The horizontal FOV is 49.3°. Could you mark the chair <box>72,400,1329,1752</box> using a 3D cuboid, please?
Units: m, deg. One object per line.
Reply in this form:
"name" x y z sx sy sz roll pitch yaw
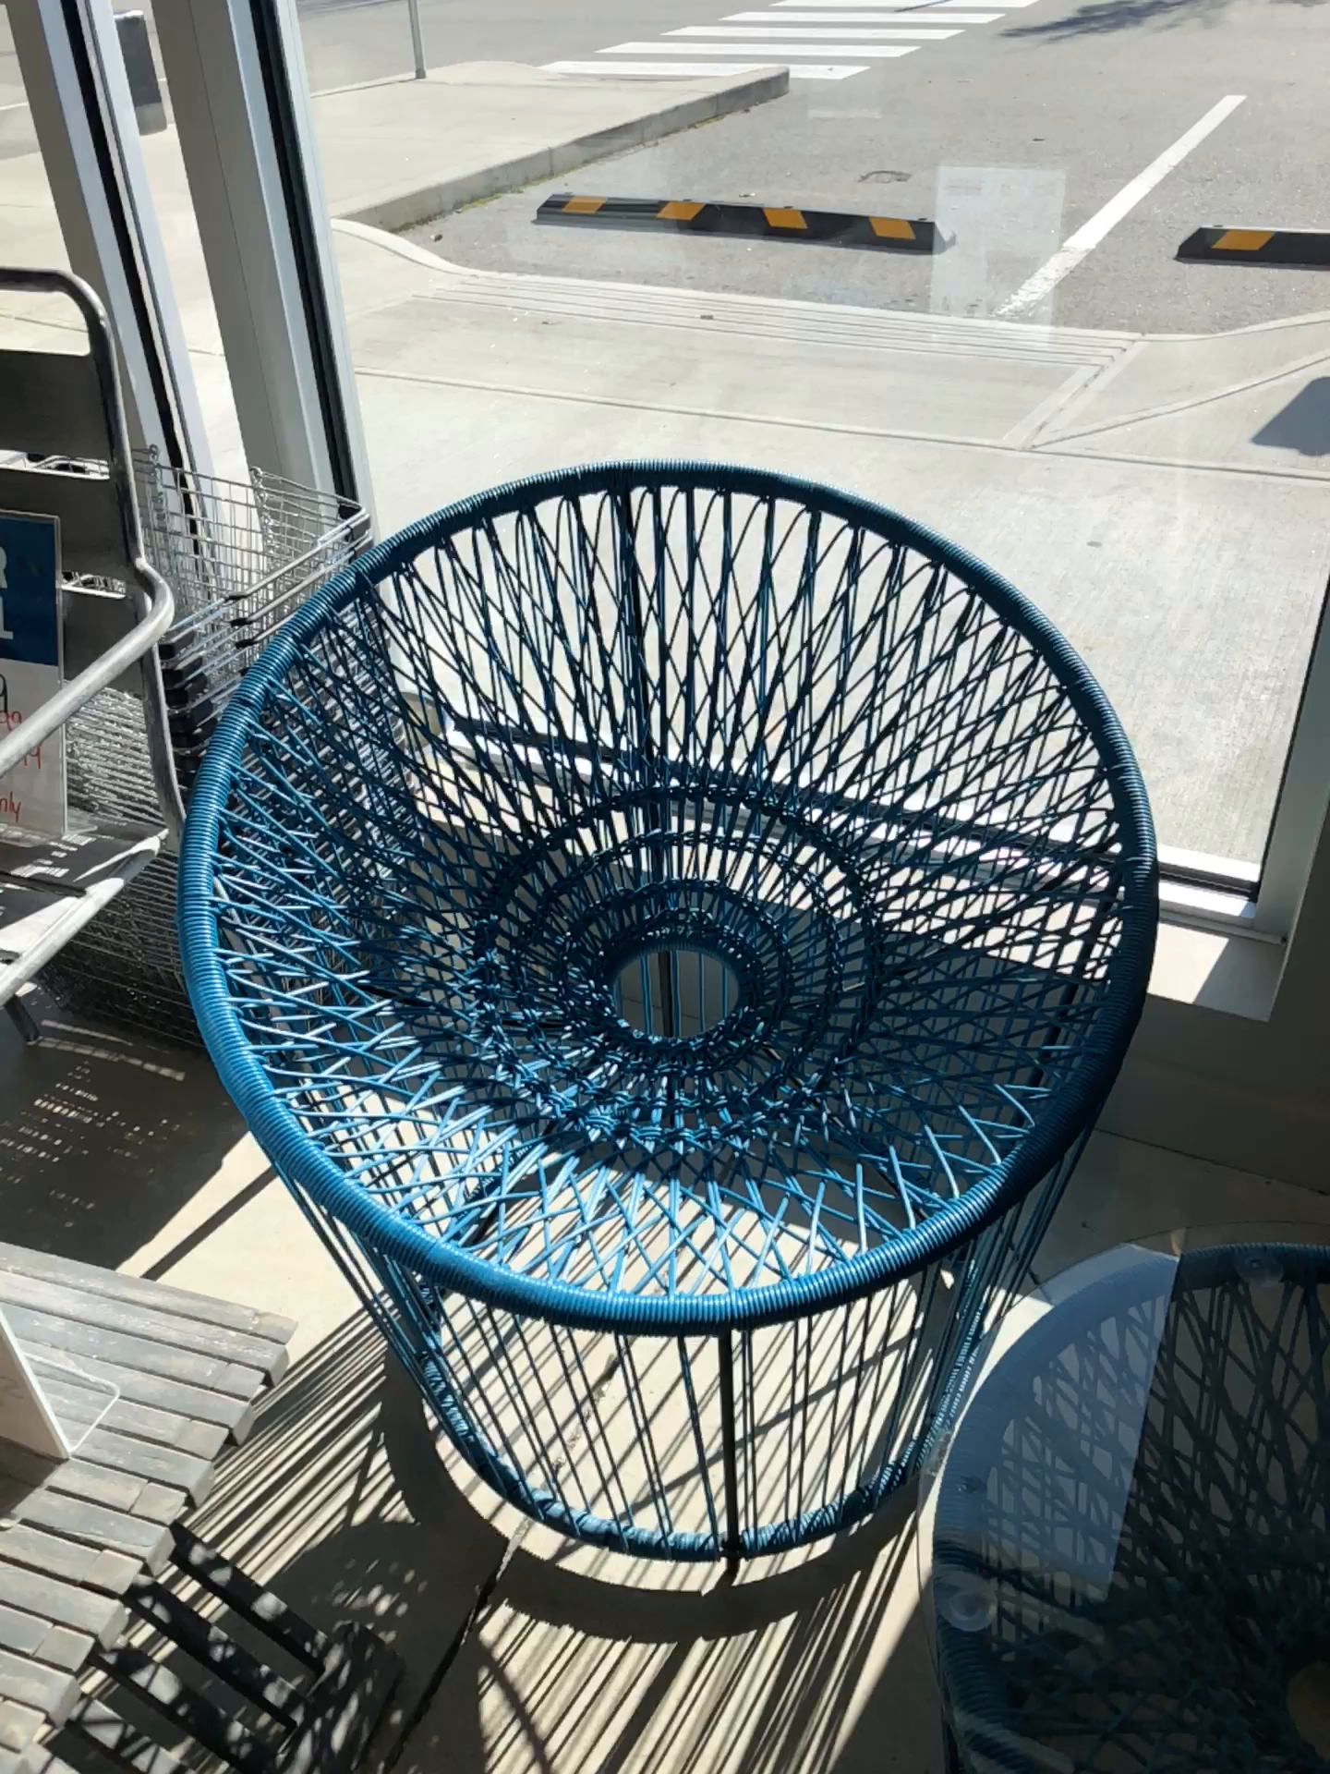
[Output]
"chair" 0.006 0.169 1.373 0.720 0.993 0.665 -7 35 -6
